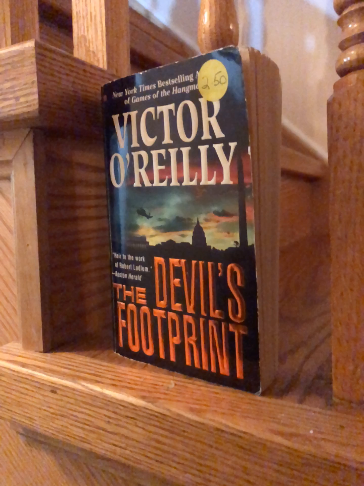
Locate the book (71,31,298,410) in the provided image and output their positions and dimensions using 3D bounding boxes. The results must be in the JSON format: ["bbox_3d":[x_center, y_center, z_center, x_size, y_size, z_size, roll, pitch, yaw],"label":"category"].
[{"bbox_3d":[-0.001,-0.011,0.240,0.120,0.170,0.050,2,9,40],"label":"book"}]
